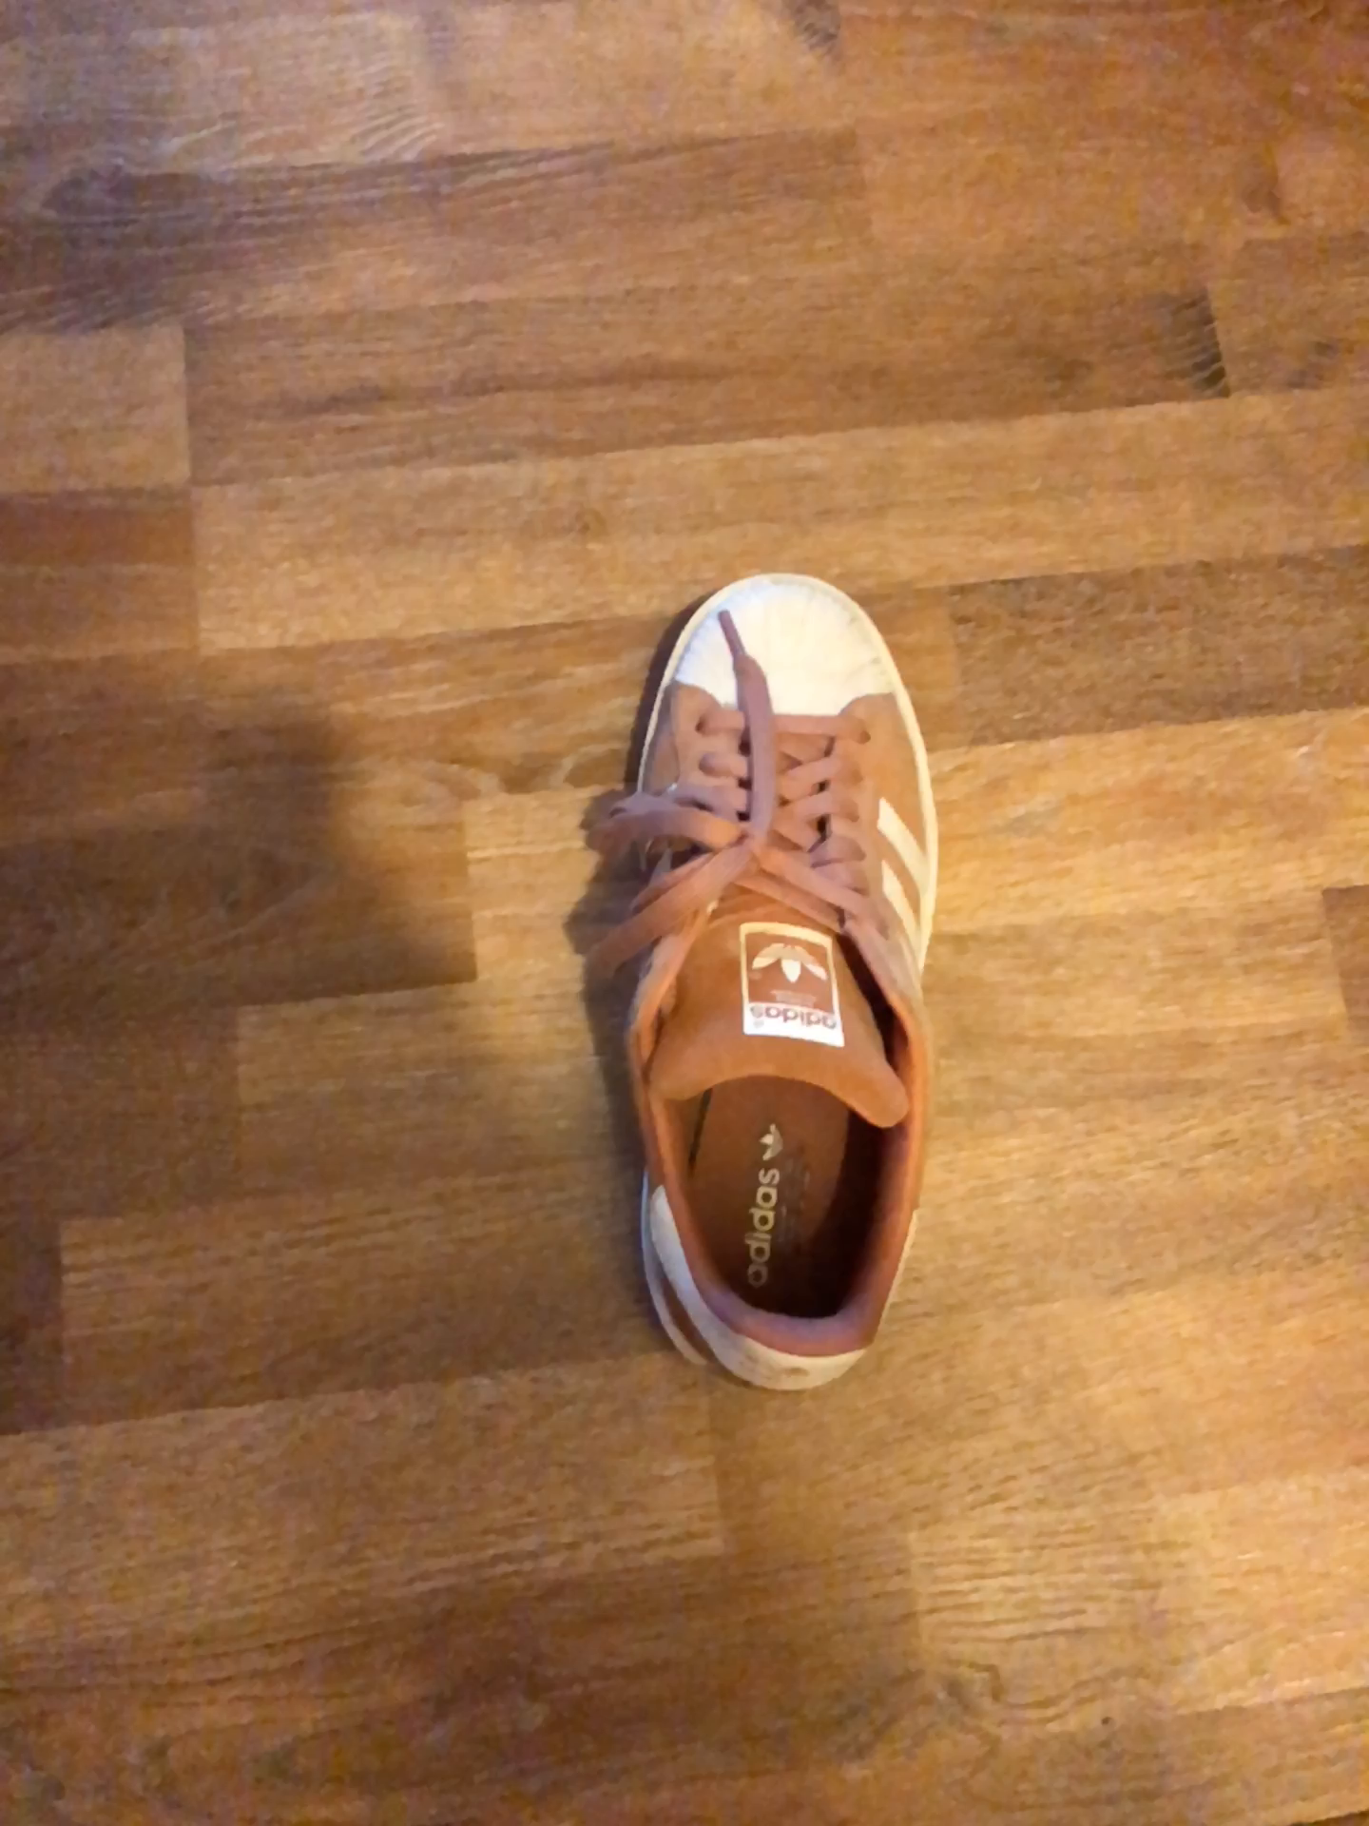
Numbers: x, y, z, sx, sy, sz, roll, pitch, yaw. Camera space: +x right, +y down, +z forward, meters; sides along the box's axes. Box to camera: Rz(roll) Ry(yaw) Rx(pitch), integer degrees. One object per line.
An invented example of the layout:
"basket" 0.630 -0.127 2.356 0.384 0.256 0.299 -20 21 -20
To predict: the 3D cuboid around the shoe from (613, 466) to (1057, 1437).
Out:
"shoe" 0.034 0.013 0.455 0.110 0.110 0.260 0 77 -3
